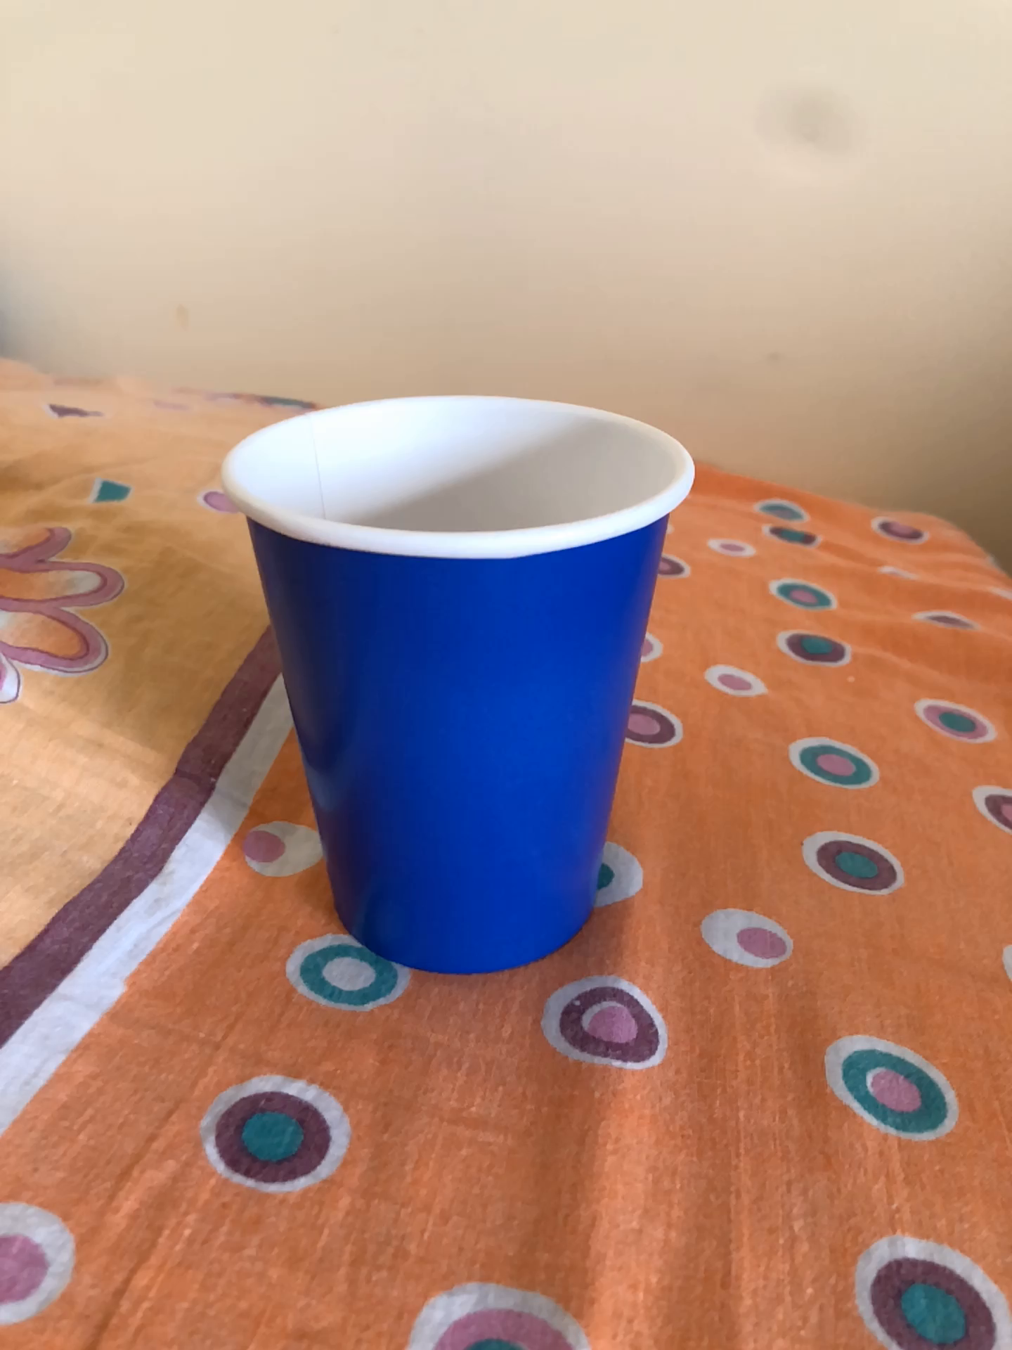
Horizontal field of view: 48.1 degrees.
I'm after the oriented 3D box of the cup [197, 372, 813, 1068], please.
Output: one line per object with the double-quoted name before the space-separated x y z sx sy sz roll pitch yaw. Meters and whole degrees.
"cup" -0.005 0.001 0.215 0.080 0.090 0.080 0 28 0
